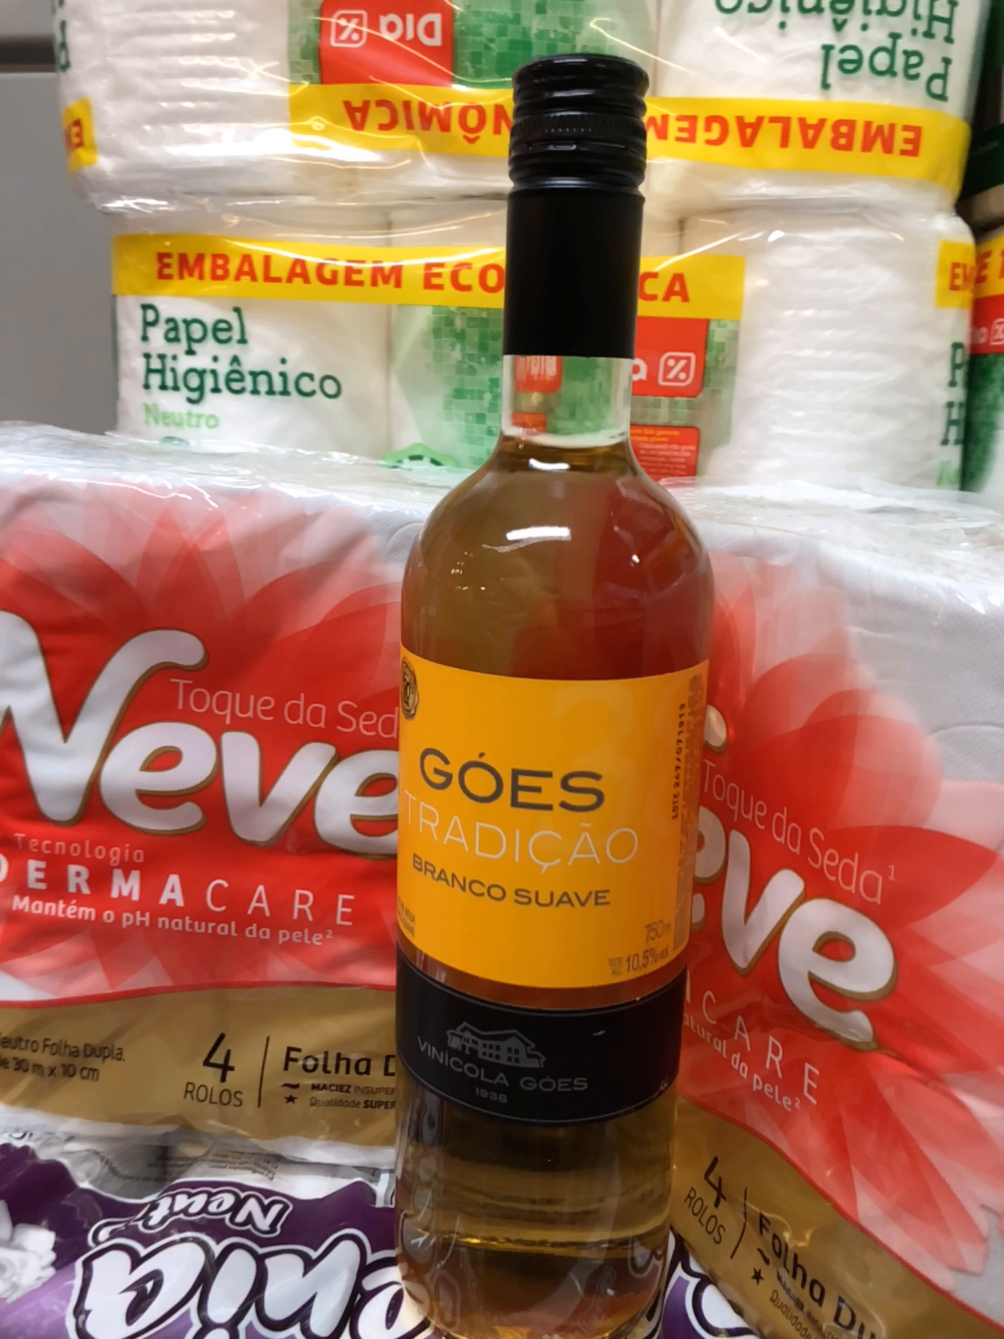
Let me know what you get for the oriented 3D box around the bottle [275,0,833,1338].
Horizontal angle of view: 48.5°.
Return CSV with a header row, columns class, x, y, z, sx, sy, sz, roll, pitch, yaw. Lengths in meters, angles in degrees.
class,x,y,z,sx,sy,sz,roll,pitch,yaw
bottle,0.015,0.020,0.279,0.090,0.319,0.090,0,13,0
